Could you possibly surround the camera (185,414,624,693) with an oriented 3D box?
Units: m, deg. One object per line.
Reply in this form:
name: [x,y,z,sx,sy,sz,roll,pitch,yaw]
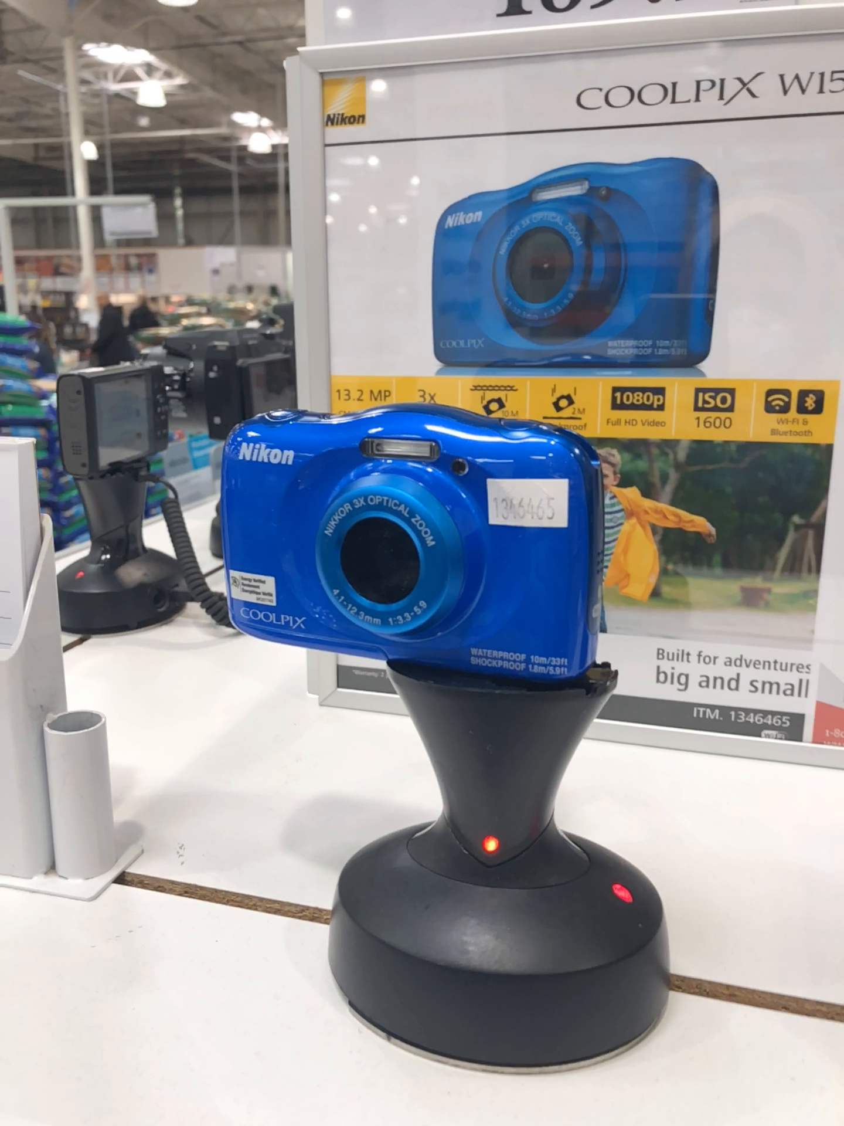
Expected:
camera: [-0.005,-0.007,0.258,0.110,0.060,0.040,5,15,20]
